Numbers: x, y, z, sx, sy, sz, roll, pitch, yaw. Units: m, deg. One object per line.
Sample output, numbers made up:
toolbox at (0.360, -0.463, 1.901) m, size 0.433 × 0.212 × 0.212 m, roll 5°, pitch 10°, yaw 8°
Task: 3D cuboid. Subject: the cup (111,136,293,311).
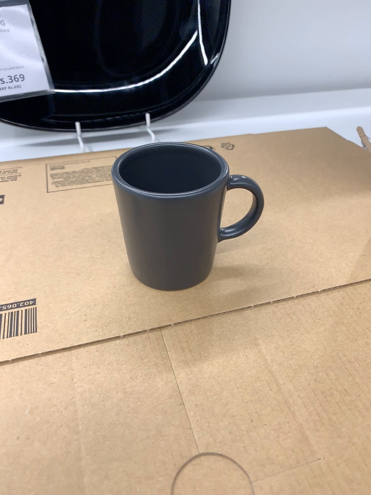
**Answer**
cup at (0.004, -0.015, 0.212) m, size 0.080 × 0.070 × 0.060 m, roll -4°, pitch 36°, yaw -6°
